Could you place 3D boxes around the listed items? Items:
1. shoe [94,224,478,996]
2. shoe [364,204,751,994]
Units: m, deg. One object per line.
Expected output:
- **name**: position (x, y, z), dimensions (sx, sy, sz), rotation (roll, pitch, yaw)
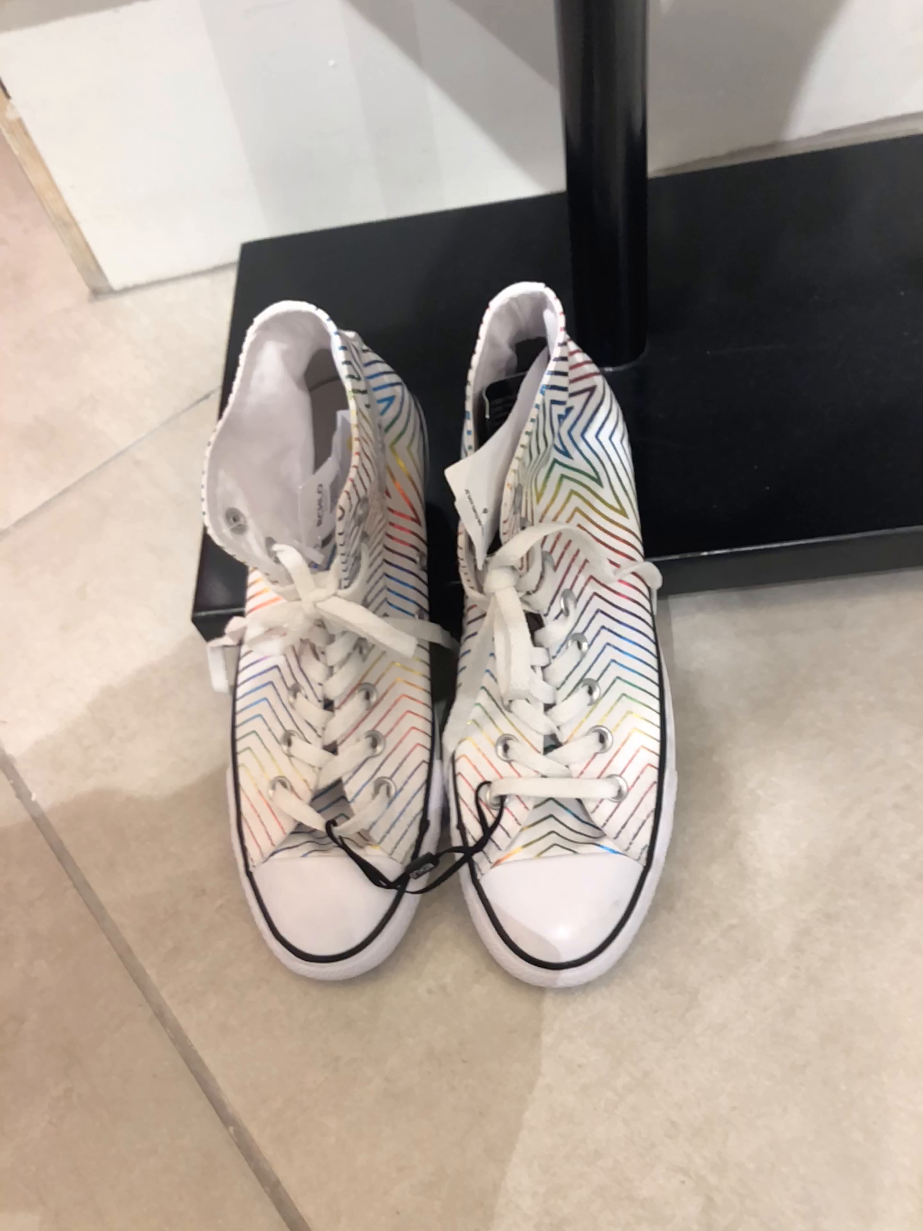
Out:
- **shoe**: position (-0.067, 0.003, 0.462), dimensions (0.120, 0.140, 0.301), rotation (-4, 75, 7)
- **shoe**: position (0.035, -0.001, 0.439), dimensions (0.120, 0.139, 0.301), rotation (-4, 68, 7)
